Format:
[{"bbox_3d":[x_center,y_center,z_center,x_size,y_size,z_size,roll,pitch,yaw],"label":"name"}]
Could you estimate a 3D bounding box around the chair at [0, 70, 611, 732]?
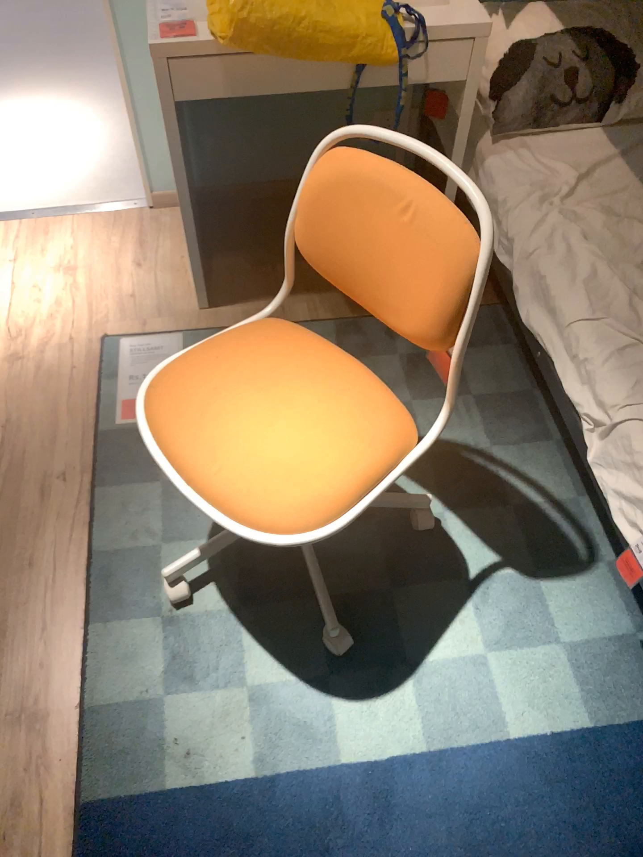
[{"bbox_3d":[-0.088,-0.031,1.121,0.650,0.708,0.611,-33,61,-22],"label":"chair"}]
